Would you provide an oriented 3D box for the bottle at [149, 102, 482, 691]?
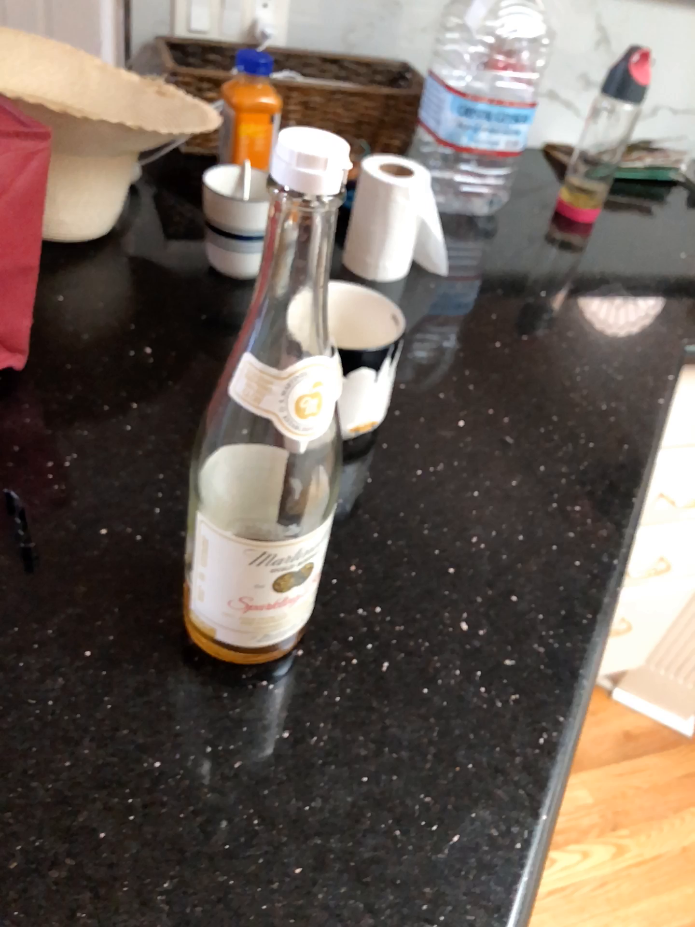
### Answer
[{"bbox_3d":[-0.037,-0.020,0.402,0.094,0.288,0.098,8,40,-7],"label":"bottle"}]
